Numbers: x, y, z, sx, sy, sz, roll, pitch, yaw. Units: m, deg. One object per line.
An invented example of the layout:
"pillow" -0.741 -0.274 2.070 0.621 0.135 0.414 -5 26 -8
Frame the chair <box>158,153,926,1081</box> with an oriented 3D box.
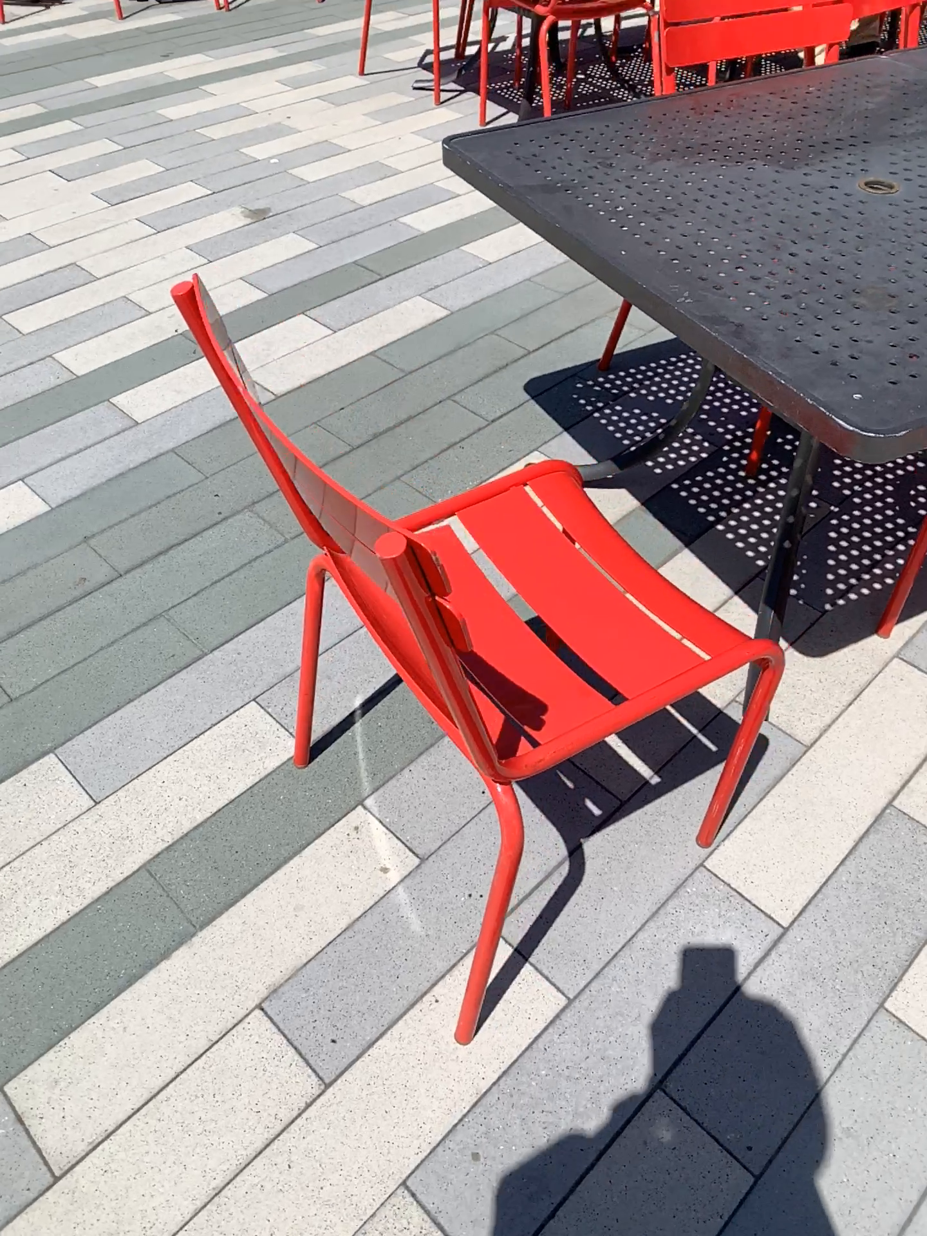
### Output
"chair" 0.091 0.007 1.189 0.580 0.845 0.583 -24 50 -22
